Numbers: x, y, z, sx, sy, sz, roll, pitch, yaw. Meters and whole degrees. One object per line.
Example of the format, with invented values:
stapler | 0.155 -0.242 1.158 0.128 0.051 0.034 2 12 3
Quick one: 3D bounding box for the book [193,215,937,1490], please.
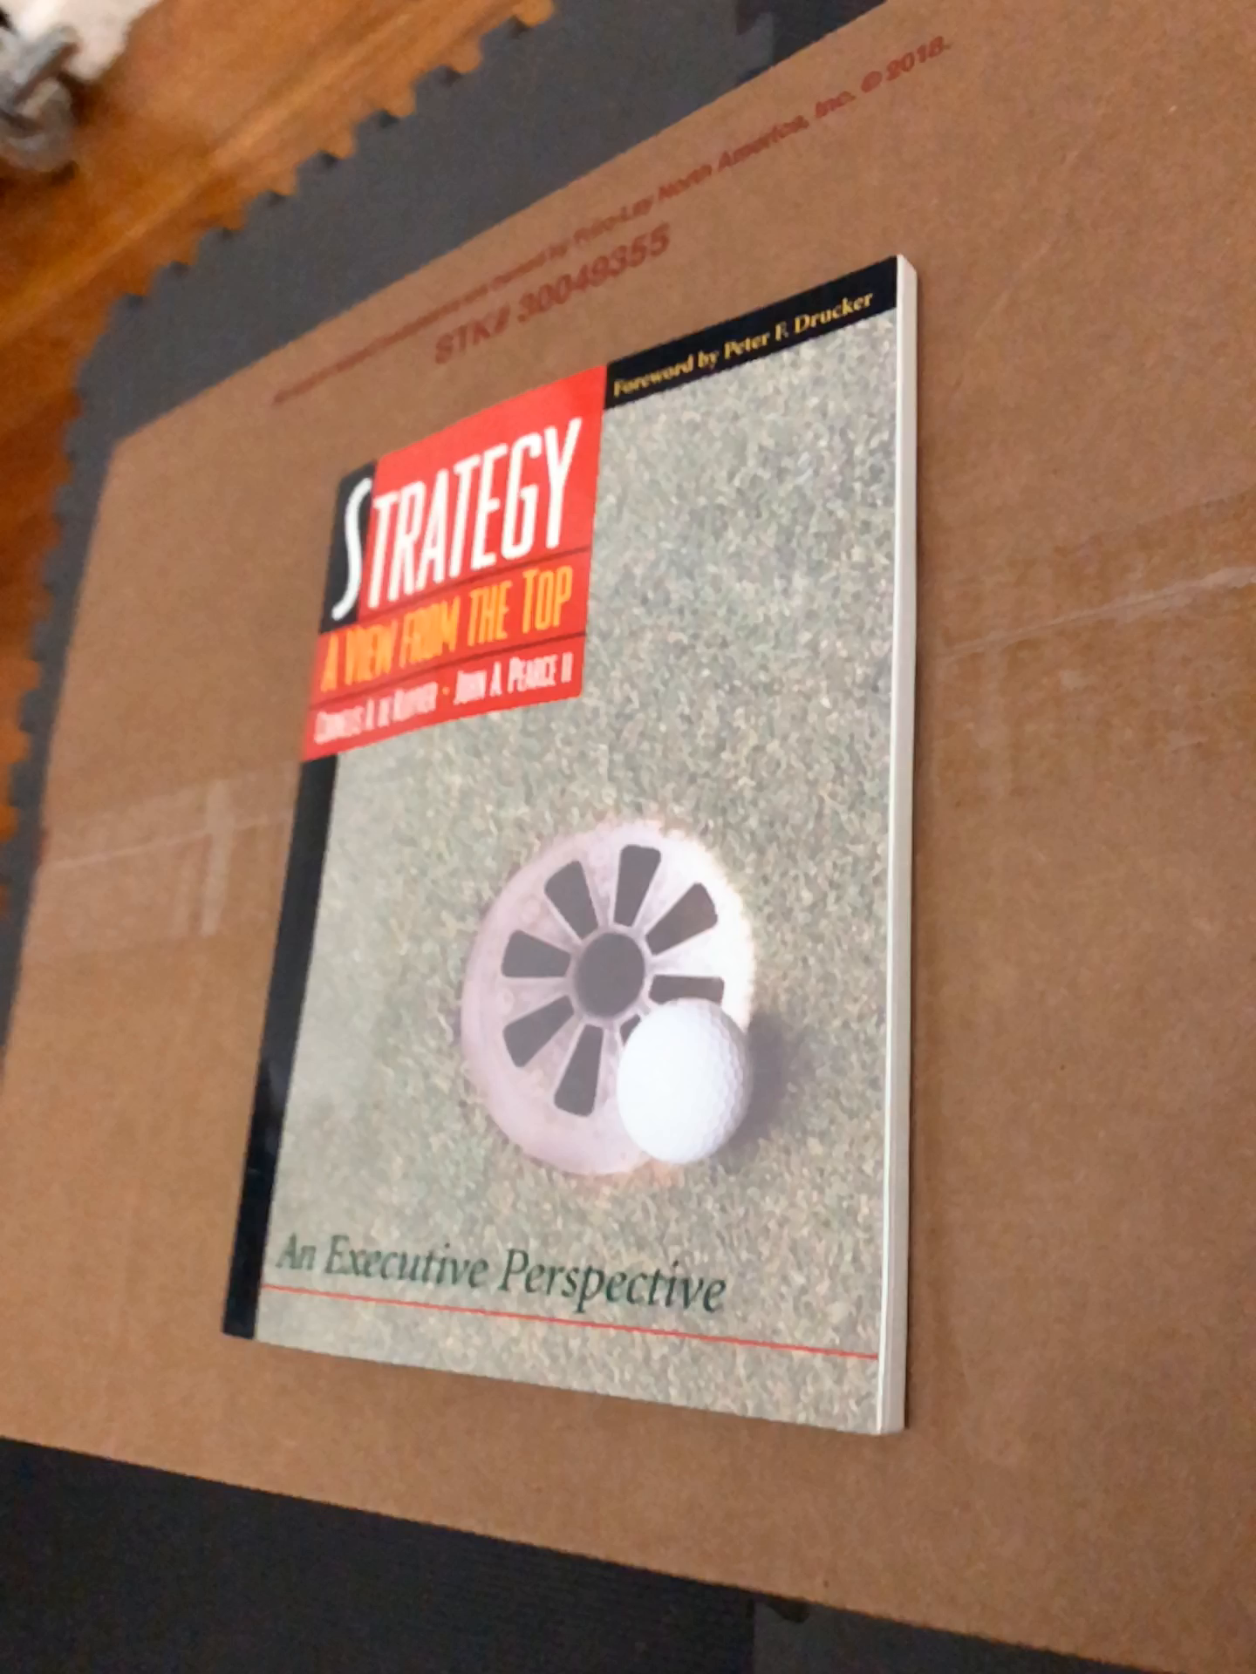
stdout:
book | -0.018 0.001 0.316 0.181 0.020 0.240 -9 70 38
